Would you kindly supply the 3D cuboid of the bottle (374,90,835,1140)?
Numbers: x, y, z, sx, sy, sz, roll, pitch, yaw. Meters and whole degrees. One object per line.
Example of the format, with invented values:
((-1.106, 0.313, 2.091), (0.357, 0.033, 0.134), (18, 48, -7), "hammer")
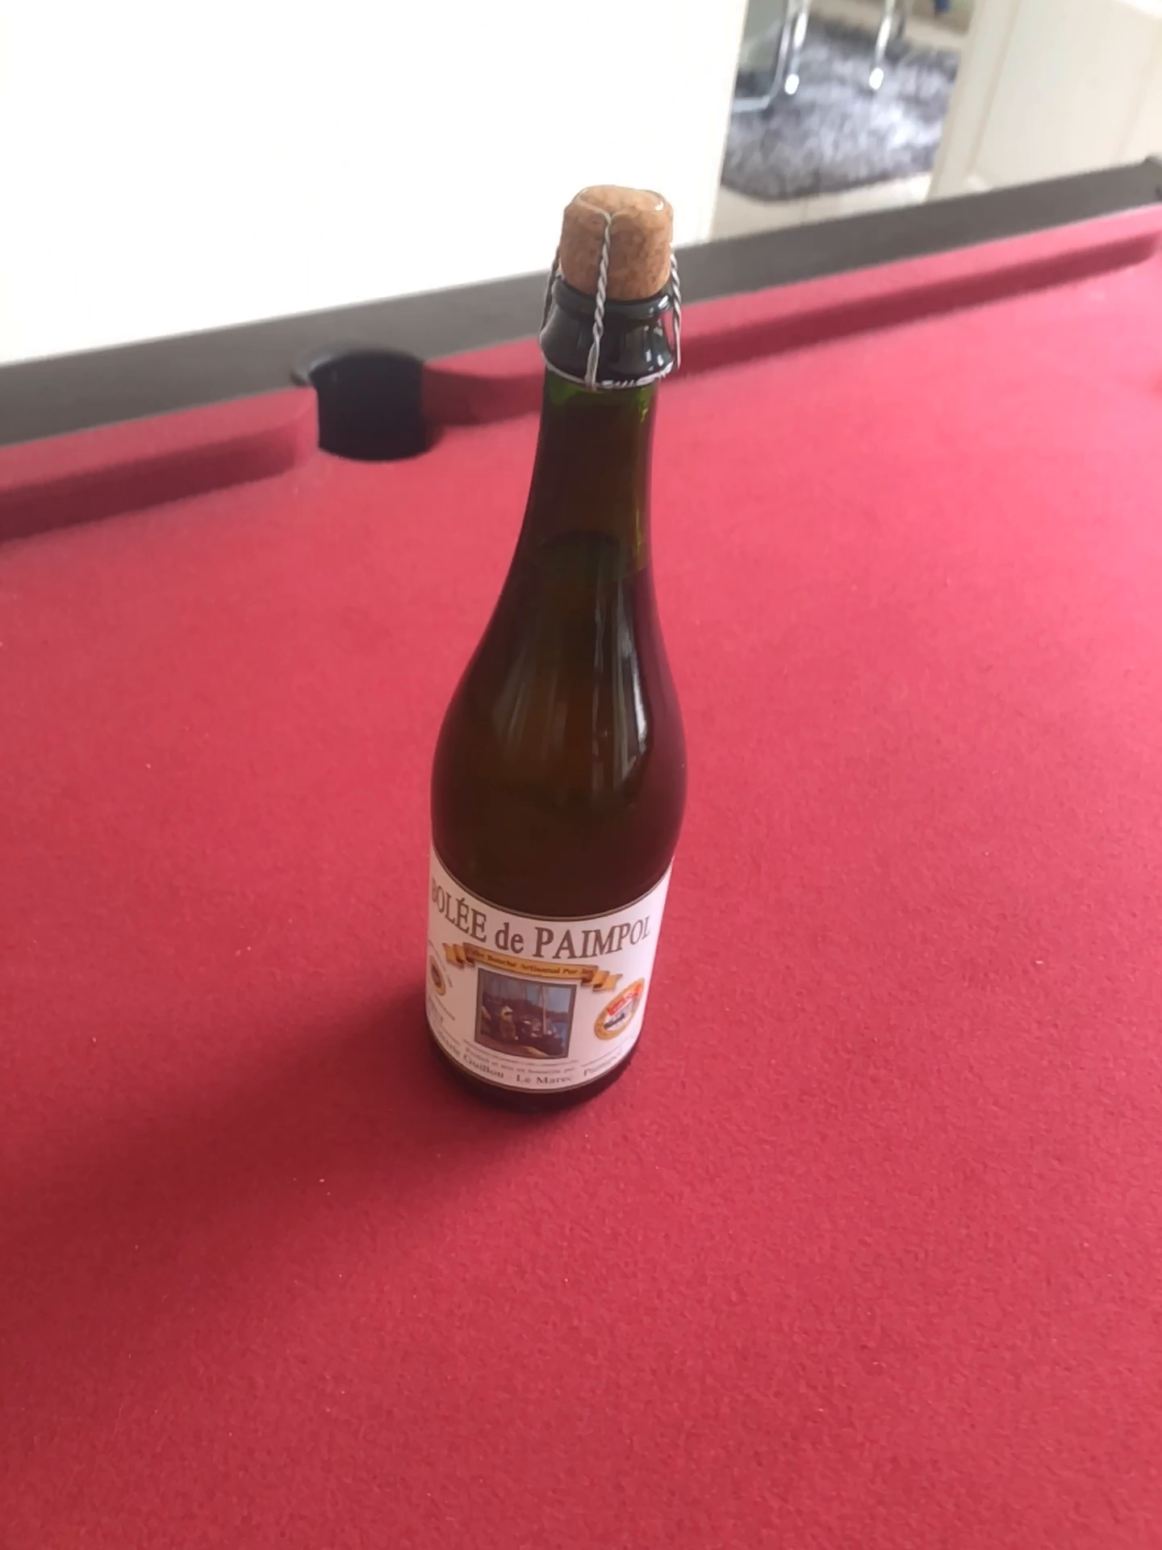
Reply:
((-0.006, -0.023, 0.385), (0.090, 0.298, 0.101), (7, 41, -1), "bottle")
